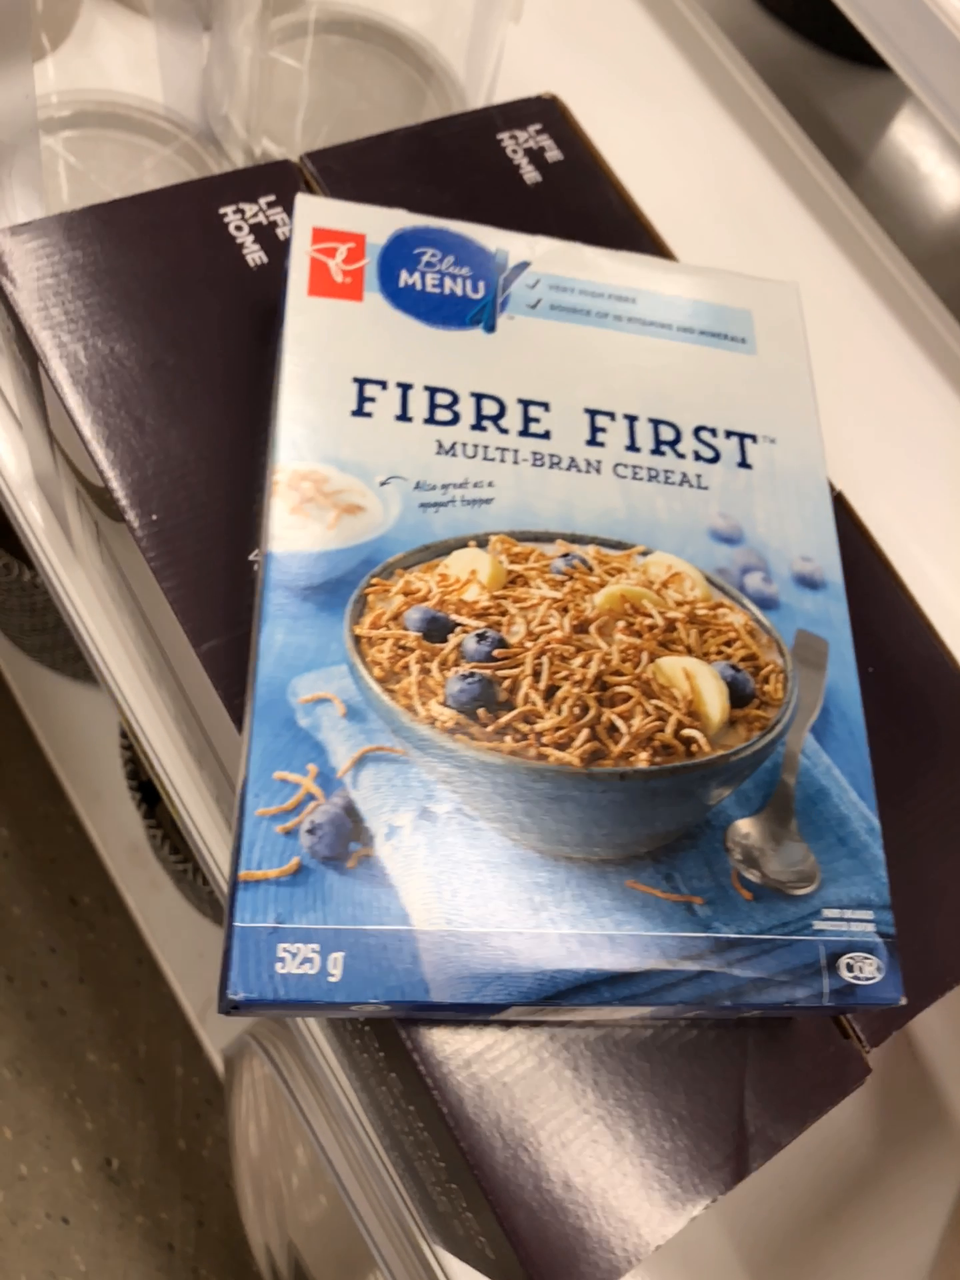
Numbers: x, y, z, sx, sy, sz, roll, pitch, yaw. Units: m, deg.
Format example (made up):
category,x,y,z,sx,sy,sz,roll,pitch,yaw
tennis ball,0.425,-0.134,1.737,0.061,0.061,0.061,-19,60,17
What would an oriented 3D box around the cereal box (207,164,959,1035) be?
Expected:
category,x,y,z,sx,sy,sz,roll,pitch,yaw
cereal box,0.027,-0.012,0.346,0.200,0.060,0.260,5,68,-13
